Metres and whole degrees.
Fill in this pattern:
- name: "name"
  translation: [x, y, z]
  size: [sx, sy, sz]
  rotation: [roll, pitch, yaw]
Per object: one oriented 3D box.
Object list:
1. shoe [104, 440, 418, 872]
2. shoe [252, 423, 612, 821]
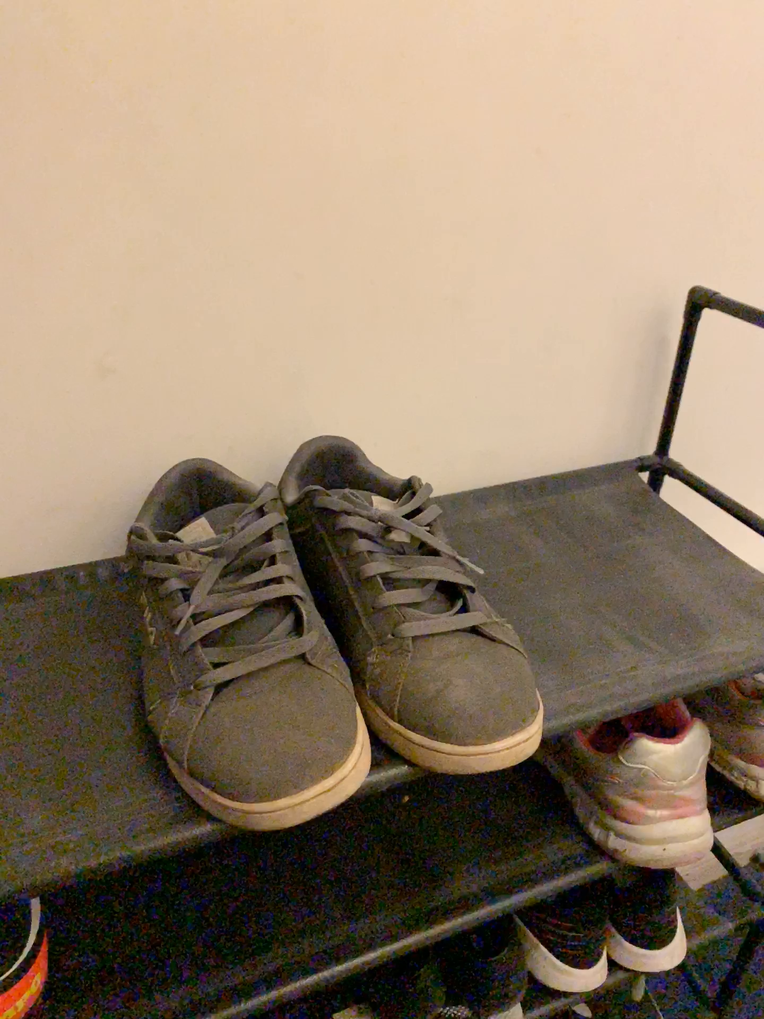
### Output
- name: "shoe"
  translation: [-0.087, 0.058, 0.471]
  size: [0.120, 0.079, 0.272]
  rotation: [-12, 32, -17]
- name: "shoe"
  translation: [0.009, 0.045, 0.527]
  size: [0.120, 0.079, 0.302]
  rotation: [-12, 32, -17]
